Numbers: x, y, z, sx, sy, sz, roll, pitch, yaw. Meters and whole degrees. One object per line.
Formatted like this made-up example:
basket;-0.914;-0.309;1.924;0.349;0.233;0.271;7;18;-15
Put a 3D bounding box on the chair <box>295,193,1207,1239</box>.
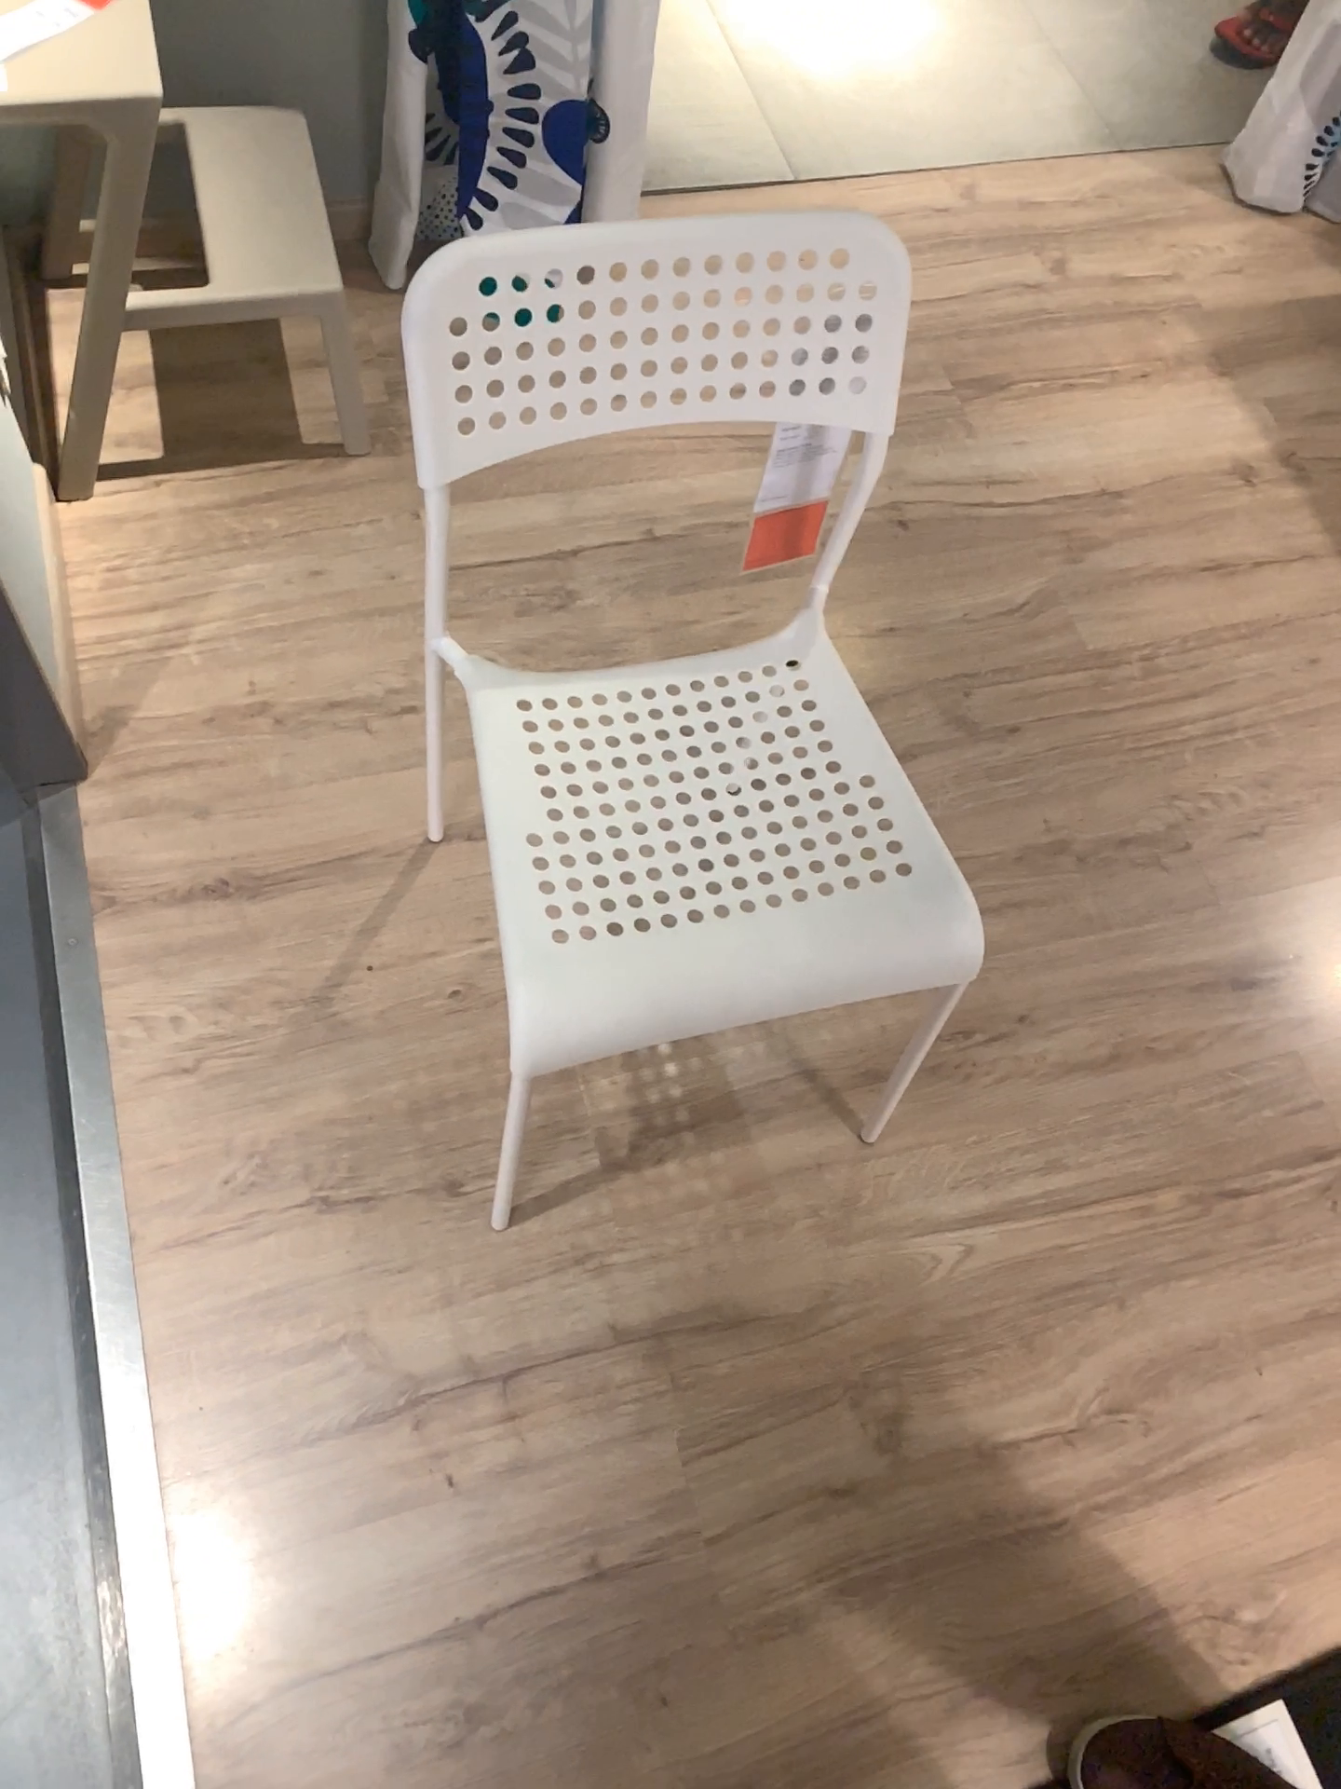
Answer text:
chair;-0.006;-0.105;1.112;0.430;0.609;0.531;-12;65;-13
